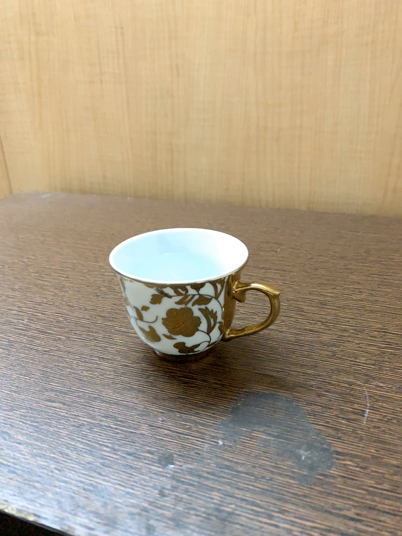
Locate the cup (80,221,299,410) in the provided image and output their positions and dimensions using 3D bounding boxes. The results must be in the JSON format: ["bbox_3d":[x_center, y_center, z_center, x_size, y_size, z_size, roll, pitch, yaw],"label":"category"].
[{"bbox_3d":[-0.001,0.016,0.206,0.080,0.050,0.070,10,26,22],"label":"cup"}]

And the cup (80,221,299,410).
[{"bbox_3d":[-0.001,0.016,0.206,0.080,0.050,0.070,10,26,22],"label":"cup"}]
